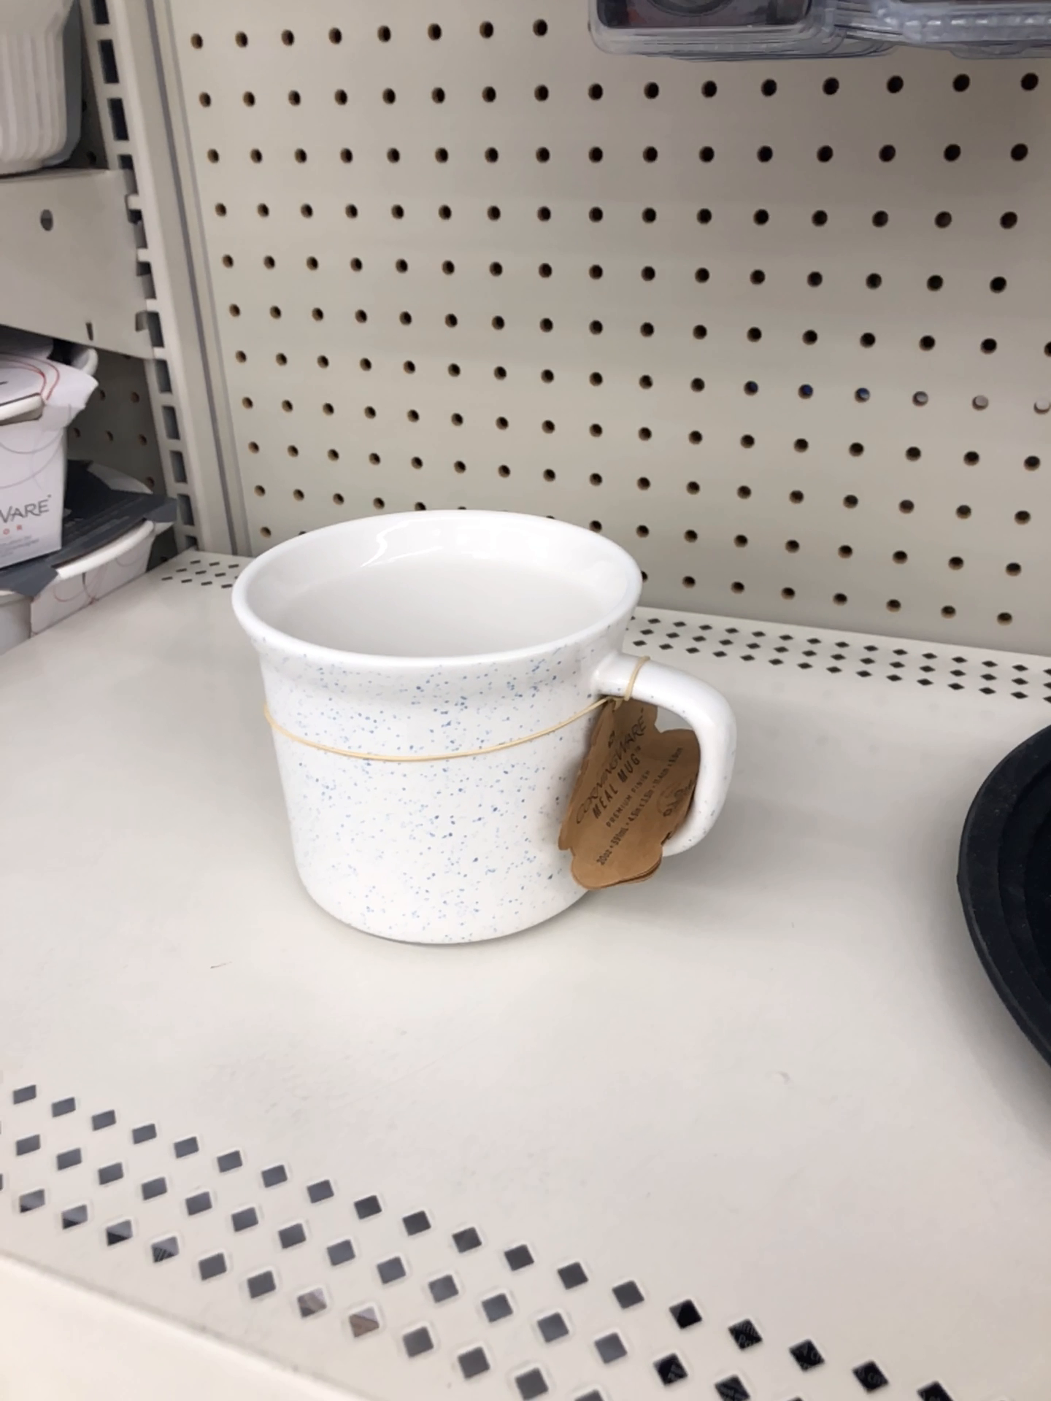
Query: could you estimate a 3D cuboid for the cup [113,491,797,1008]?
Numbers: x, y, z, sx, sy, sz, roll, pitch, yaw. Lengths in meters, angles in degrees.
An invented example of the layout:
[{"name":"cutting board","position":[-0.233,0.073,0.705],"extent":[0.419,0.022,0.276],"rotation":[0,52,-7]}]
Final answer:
[{"name":"cup","position":[-0.012,0.004,0.334],"extent":[0.159,0.090,0.102],"rotation":[7,29,16]}]
